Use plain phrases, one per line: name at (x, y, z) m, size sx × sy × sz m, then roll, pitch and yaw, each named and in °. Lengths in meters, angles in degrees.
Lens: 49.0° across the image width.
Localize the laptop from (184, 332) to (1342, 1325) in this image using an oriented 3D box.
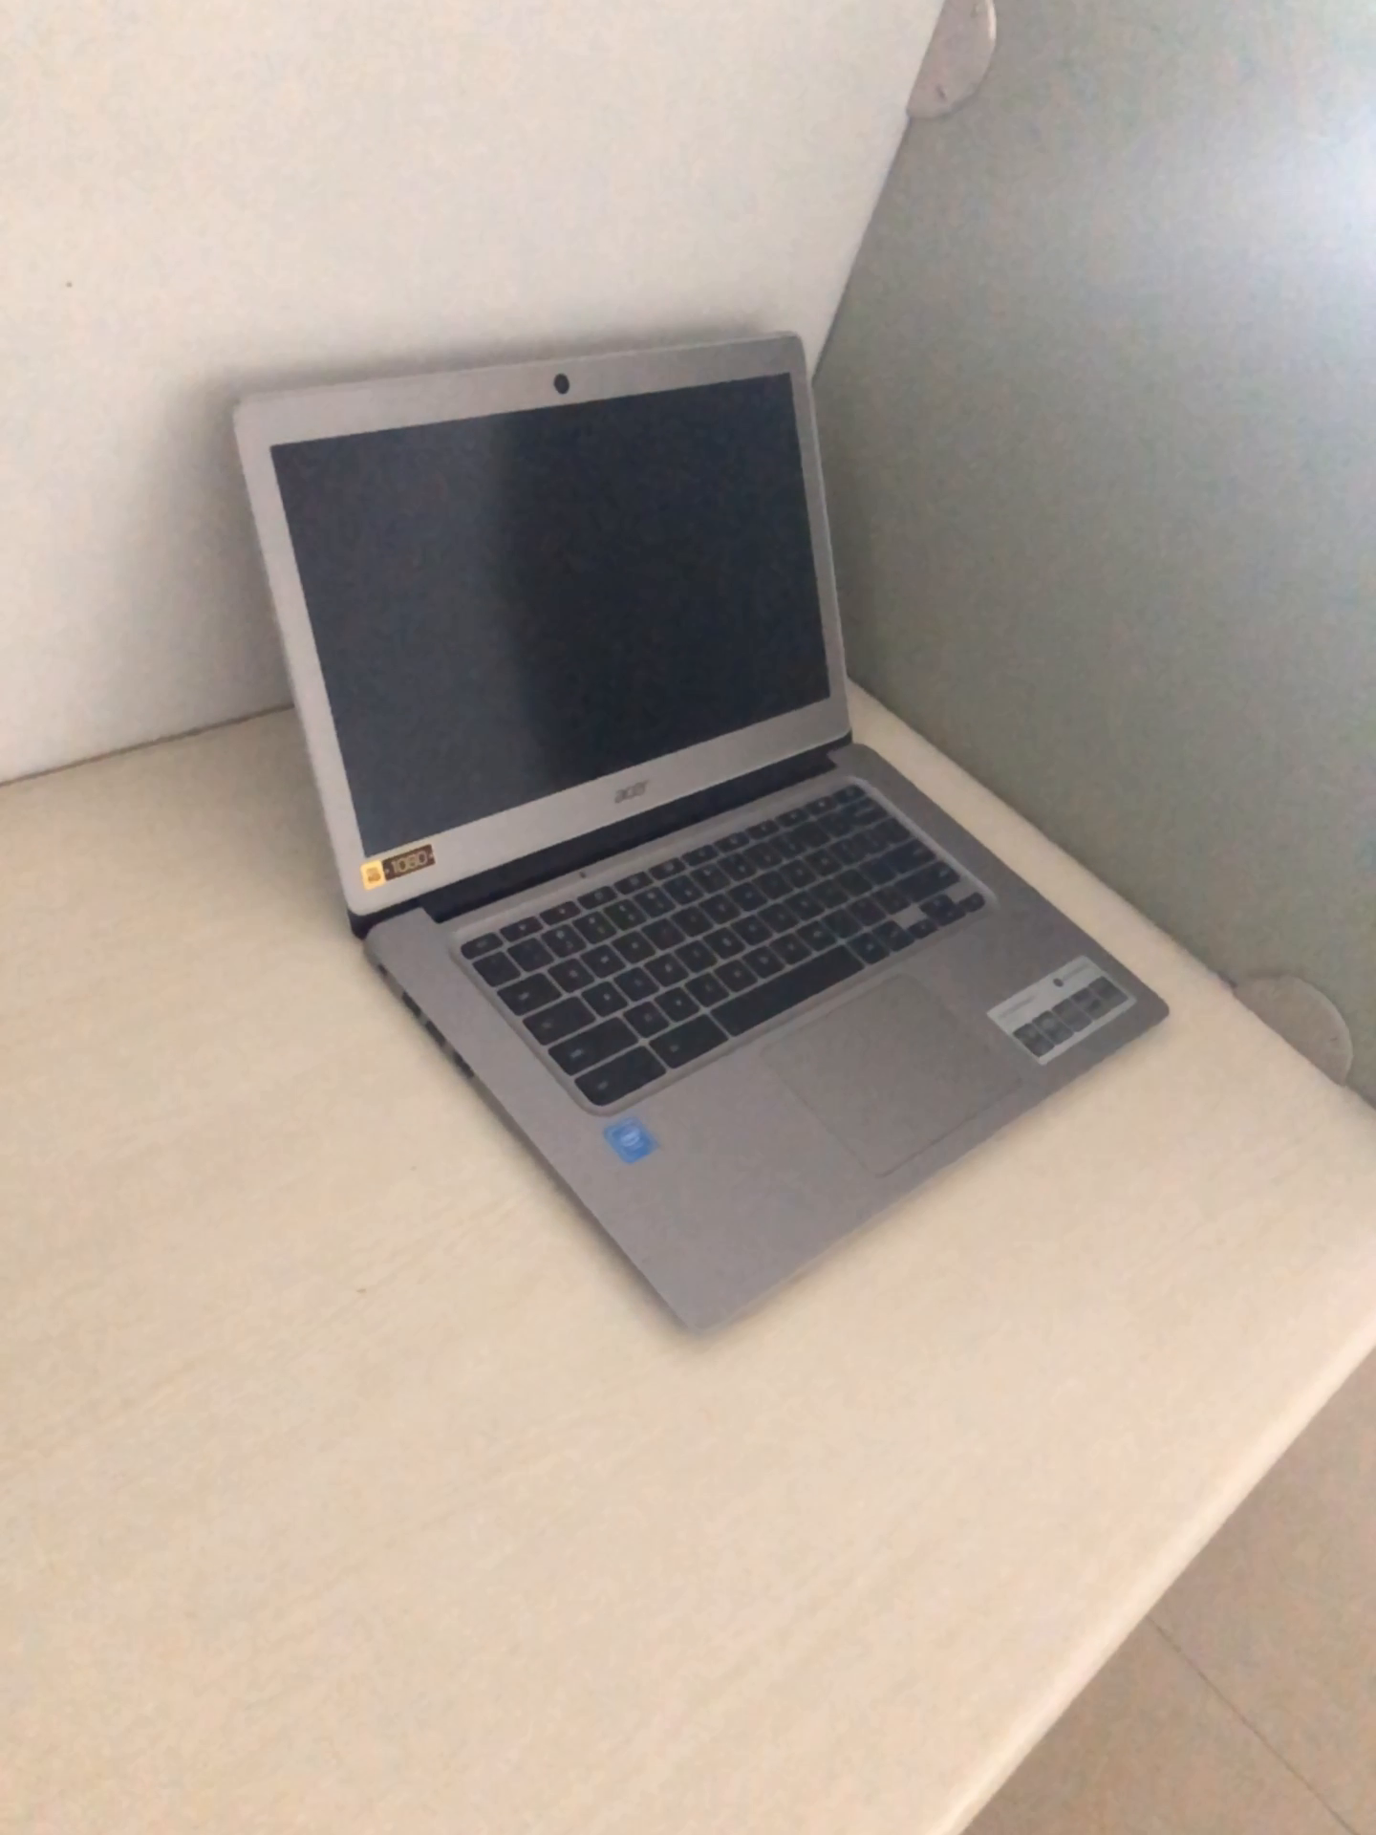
laptop at (0.024, -0.080, 0.669) m, size 0.323 × 0.168 × 0.366 m, roll -24°, pitch 58°, yaw -40°
